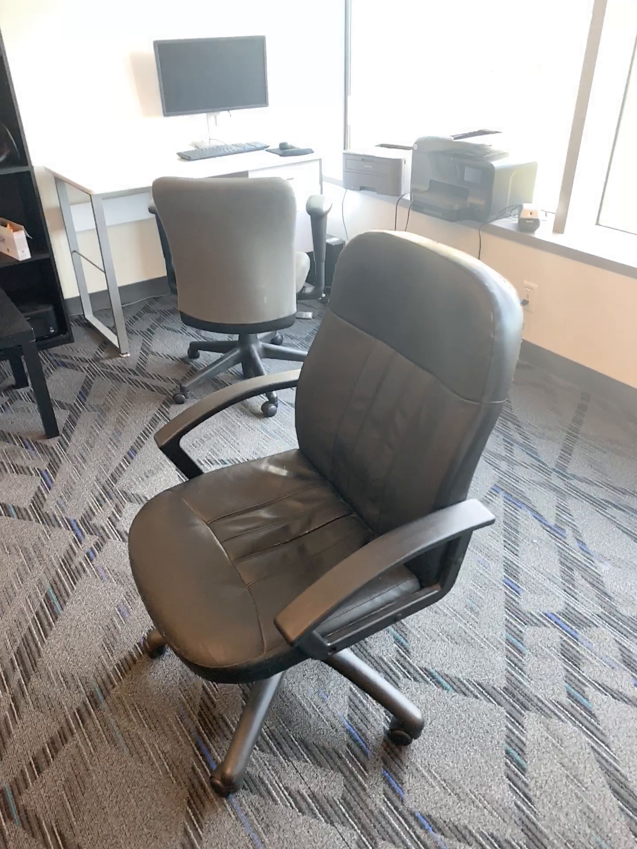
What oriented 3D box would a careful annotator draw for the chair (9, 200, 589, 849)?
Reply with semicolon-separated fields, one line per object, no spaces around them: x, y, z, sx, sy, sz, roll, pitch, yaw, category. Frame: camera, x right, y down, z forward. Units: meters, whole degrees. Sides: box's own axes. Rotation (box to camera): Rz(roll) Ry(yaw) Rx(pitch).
-0.072;0.133;1.293;0.692;0.892;0.704;-19;36;-25;chair
